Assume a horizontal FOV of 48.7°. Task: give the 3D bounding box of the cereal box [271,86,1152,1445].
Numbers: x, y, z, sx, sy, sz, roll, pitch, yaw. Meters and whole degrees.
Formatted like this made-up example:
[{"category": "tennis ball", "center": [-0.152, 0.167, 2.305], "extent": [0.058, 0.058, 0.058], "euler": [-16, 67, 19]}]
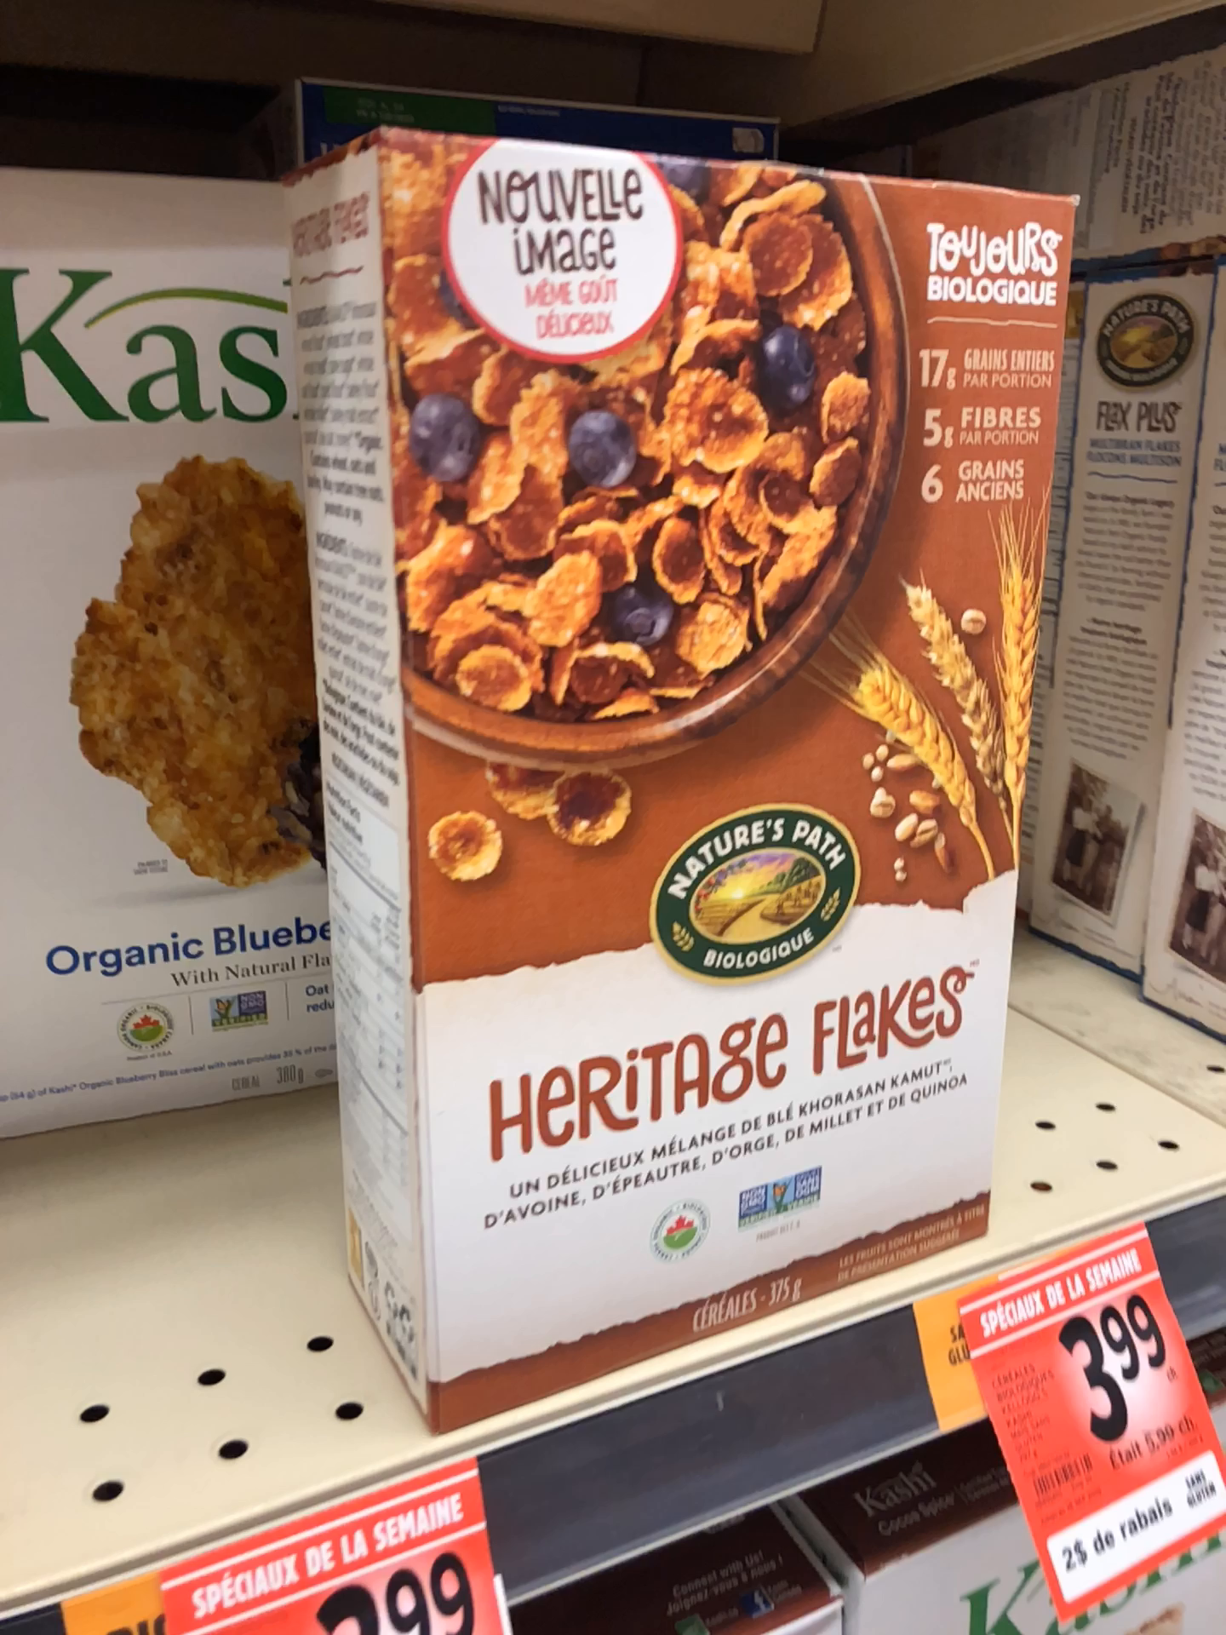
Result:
[{"category": "cereal box", "center": [0.022, -0.012, 0.317], "extent": [0.170, 0.259, 0.070], "euler": [-9, 19, -26]}]
